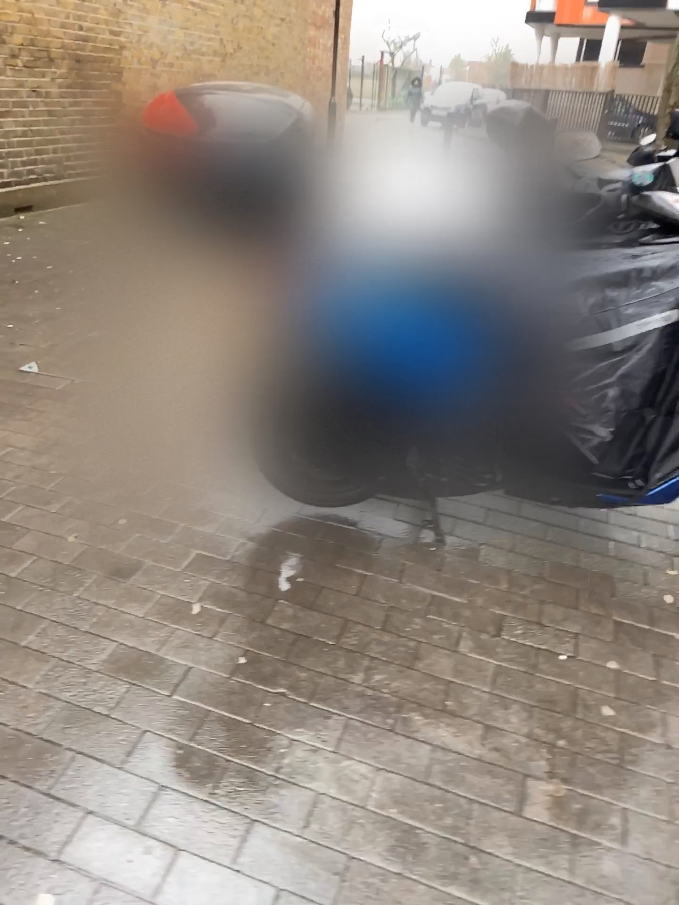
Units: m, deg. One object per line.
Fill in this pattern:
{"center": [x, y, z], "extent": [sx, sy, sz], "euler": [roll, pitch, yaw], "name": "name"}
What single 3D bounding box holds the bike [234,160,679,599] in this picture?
{"center": [0.615, -0.209, 1.980], "extent": [1.731, 0.998, 0.681], "euler": [1, 27, -7], "name": "bike"}
